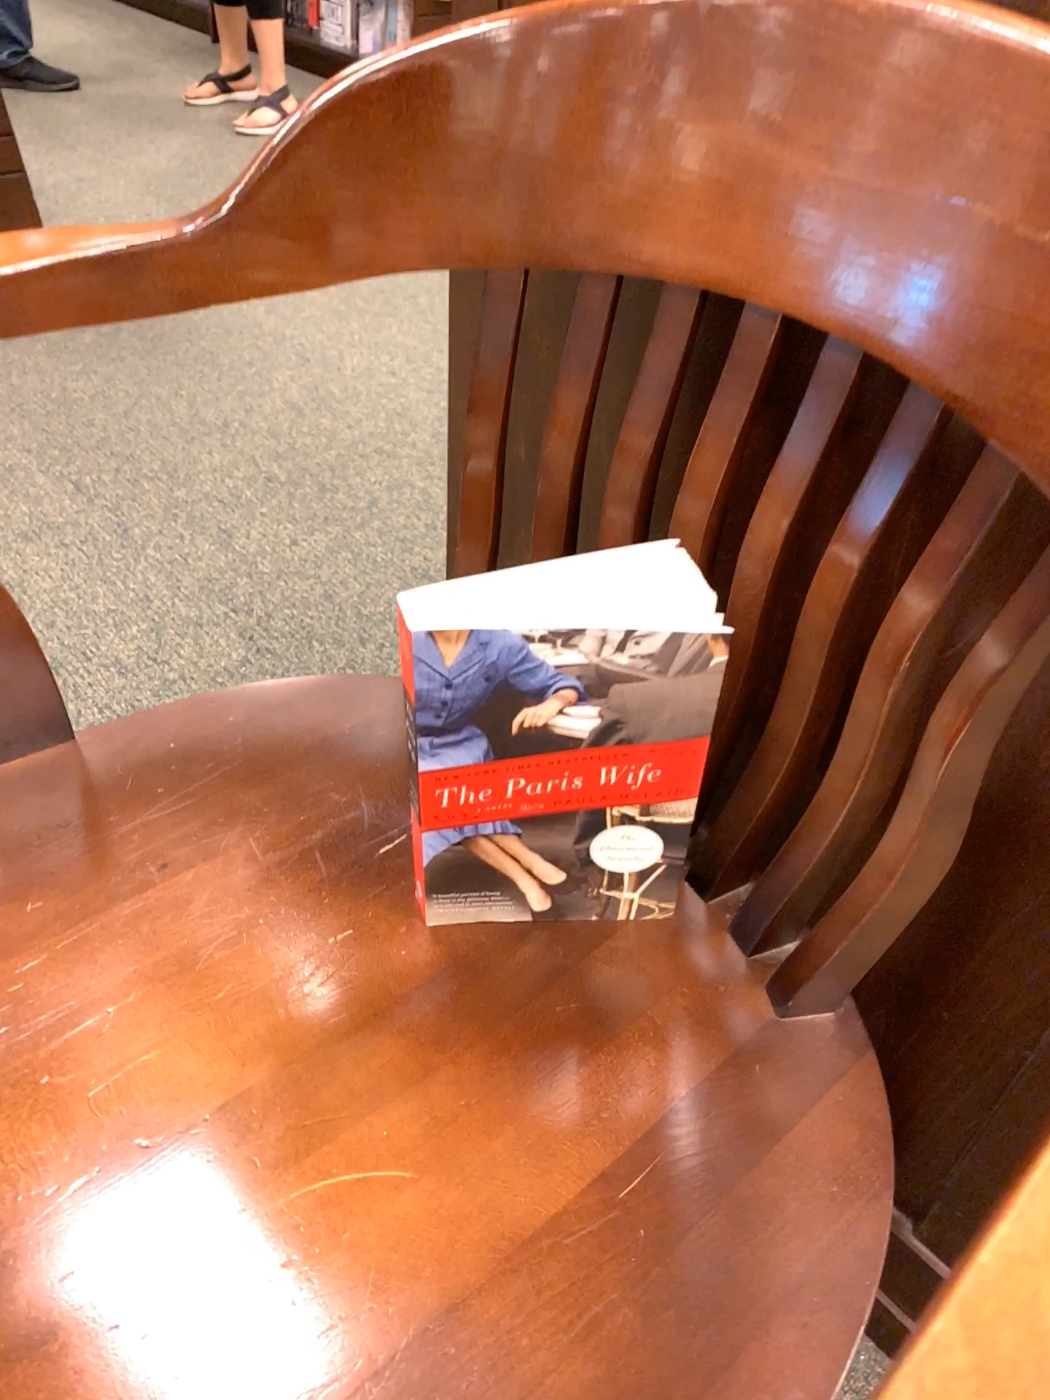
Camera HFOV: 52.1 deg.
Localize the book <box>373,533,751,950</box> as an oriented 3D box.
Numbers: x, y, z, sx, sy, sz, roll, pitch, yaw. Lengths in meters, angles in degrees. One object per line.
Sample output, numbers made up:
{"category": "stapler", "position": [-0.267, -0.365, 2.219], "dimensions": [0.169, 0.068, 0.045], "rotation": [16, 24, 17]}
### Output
{"category": "book", "position": [0.007, 0.026, 0.522], "dimensions": [0.150, 0.199, 0.072], "rotation": [-4, 43, -9]}
